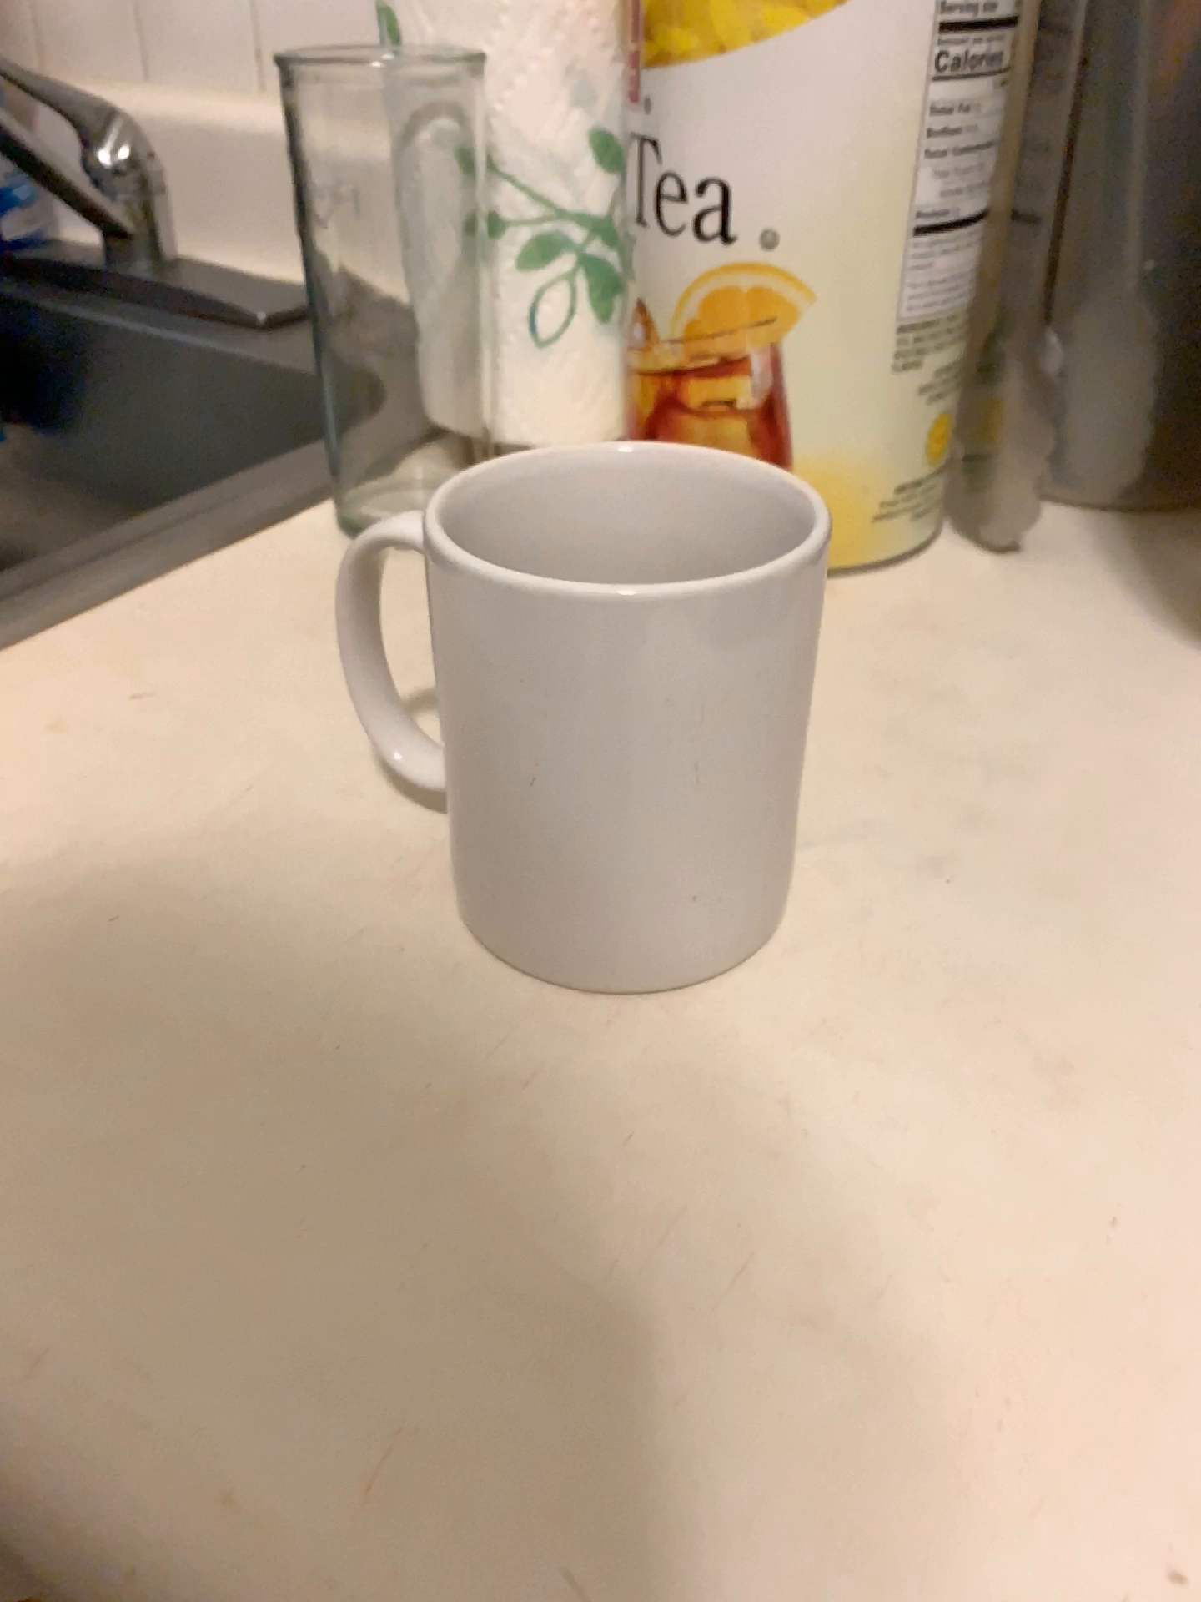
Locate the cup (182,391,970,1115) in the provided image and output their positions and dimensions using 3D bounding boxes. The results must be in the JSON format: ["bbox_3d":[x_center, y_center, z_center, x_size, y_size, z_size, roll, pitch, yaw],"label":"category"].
[{"bbox_3d":[-0.003,-0.019,0.293,0.140,0.109,0.090,16,37,20],"label":"cup"}]
